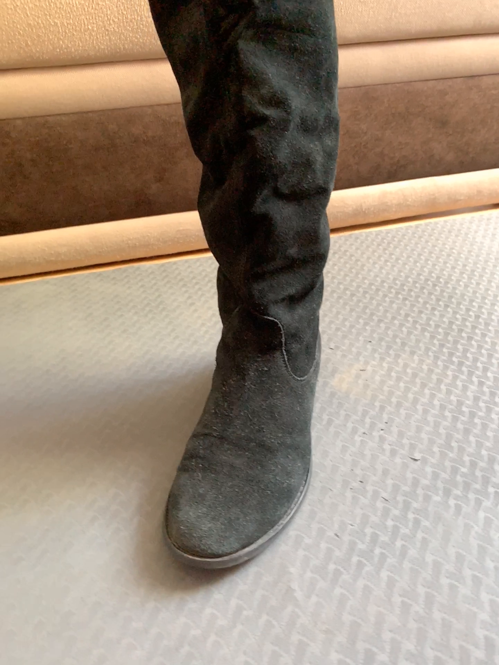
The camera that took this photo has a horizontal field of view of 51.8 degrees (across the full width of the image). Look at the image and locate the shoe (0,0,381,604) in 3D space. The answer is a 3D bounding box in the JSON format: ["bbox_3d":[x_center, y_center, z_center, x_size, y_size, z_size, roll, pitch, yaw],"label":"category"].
[{"bbox_3d":[-0.002,-0.104,0.333,0.130,0.378,0.321,4,30,15],"label":"shoe"}]
